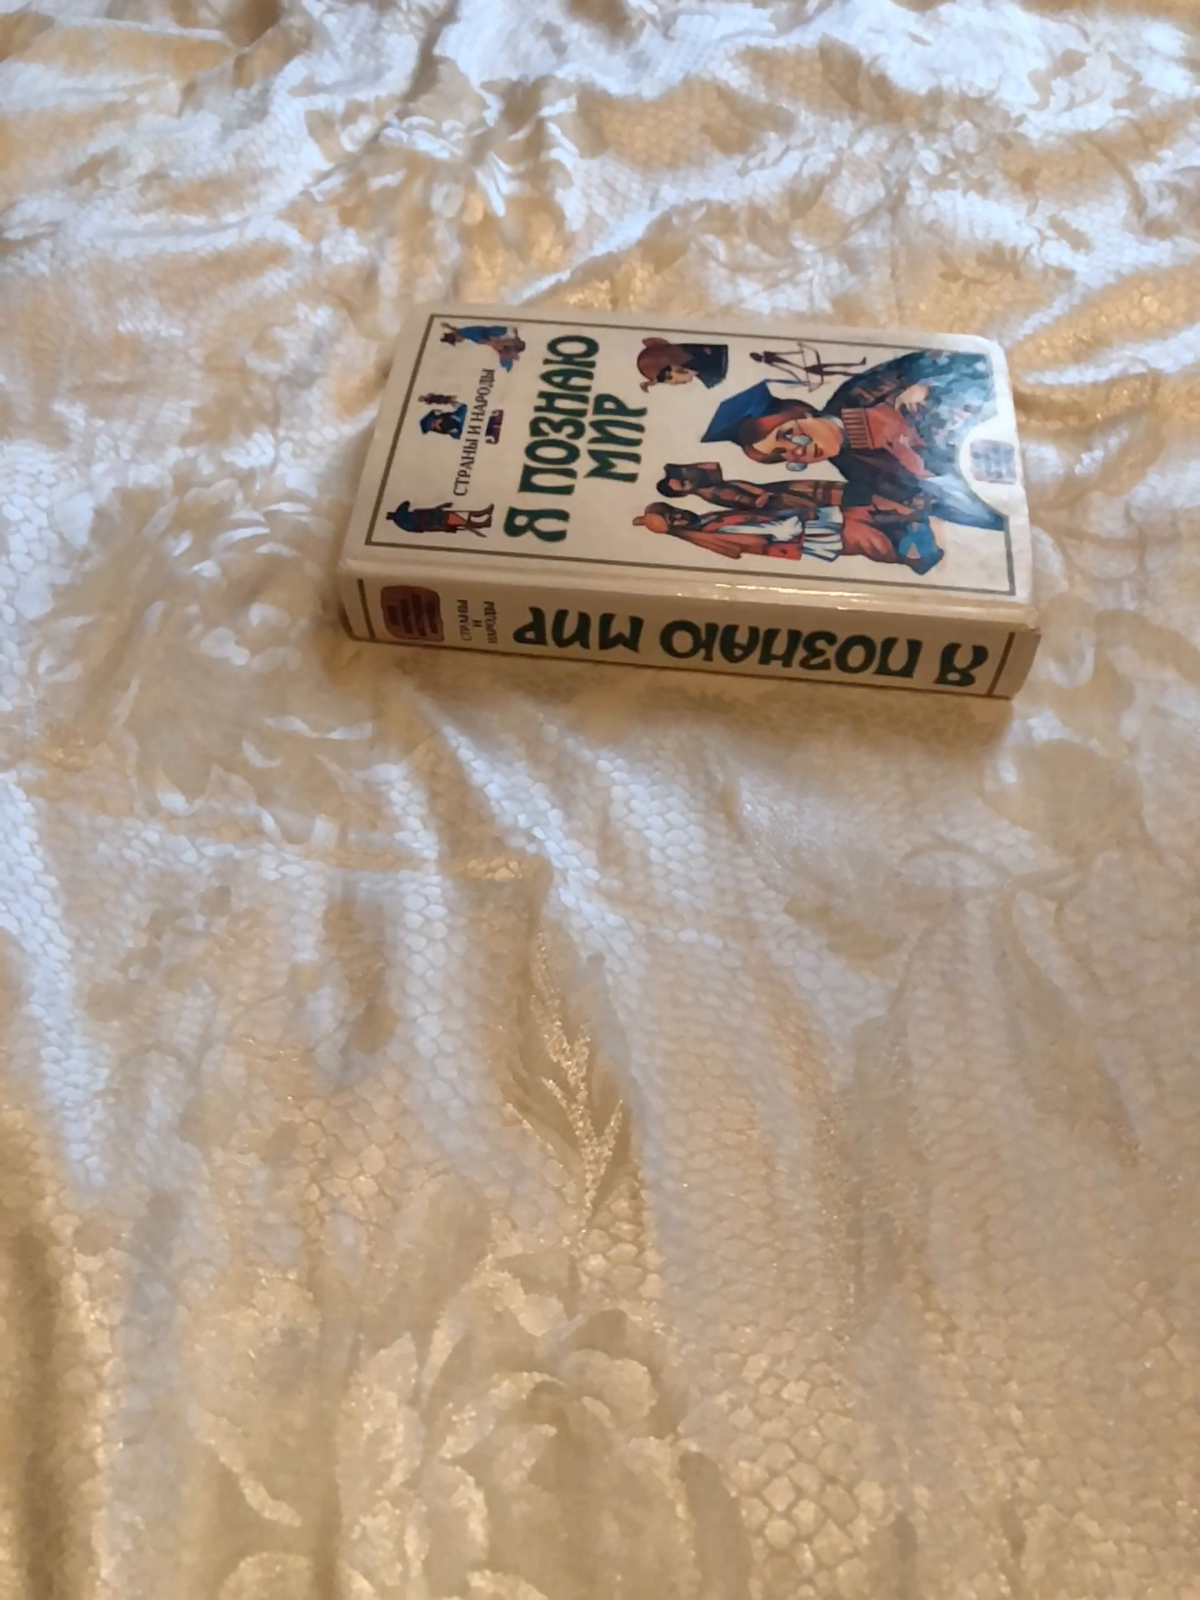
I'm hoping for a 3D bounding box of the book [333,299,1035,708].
[{"bbox_3d":[0.028,-0.100,0.426,0.197,0.037,0.134,4,54,3],"label":"book"}]
